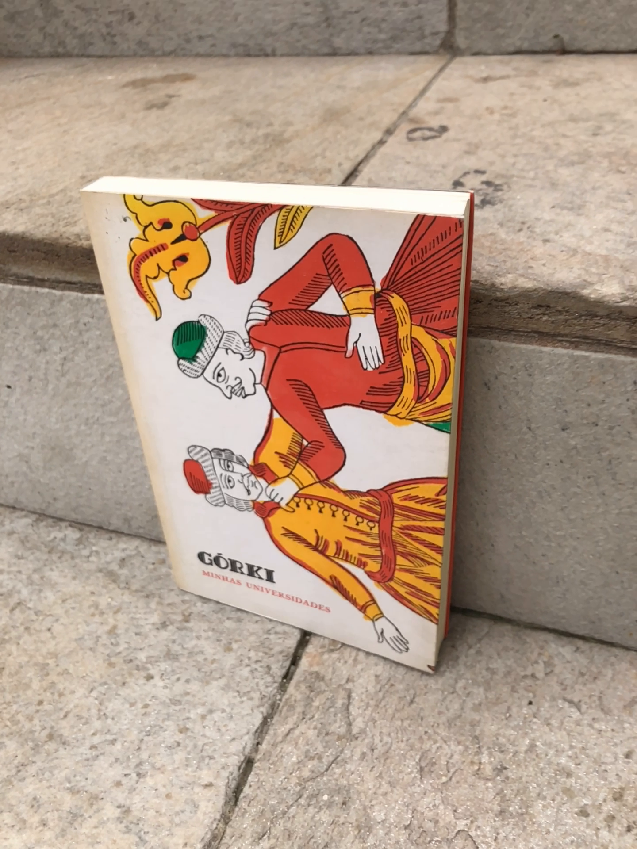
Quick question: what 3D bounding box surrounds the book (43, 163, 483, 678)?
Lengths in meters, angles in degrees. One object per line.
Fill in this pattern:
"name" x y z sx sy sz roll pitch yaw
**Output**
"book" -0.017 0.004 0.277 0.142 0.189 0.030 12 37 22
